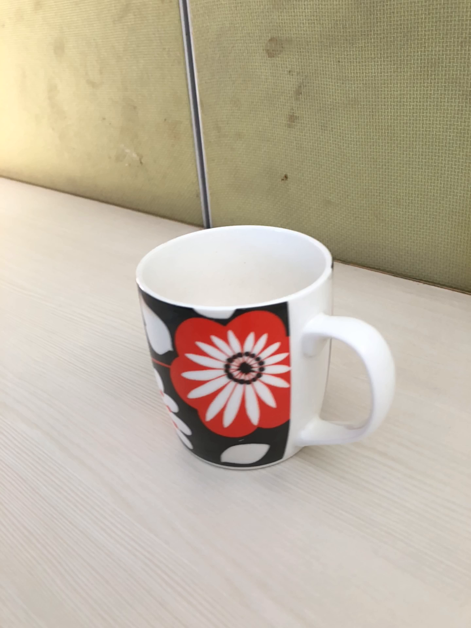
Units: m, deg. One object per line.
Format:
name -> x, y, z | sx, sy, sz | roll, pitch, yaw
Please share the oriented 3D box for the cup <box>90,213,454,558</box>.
cup -> 0.019, 0.019, 0.235 | 0.120, 0.089, 0.091 | 14, 34, 30
